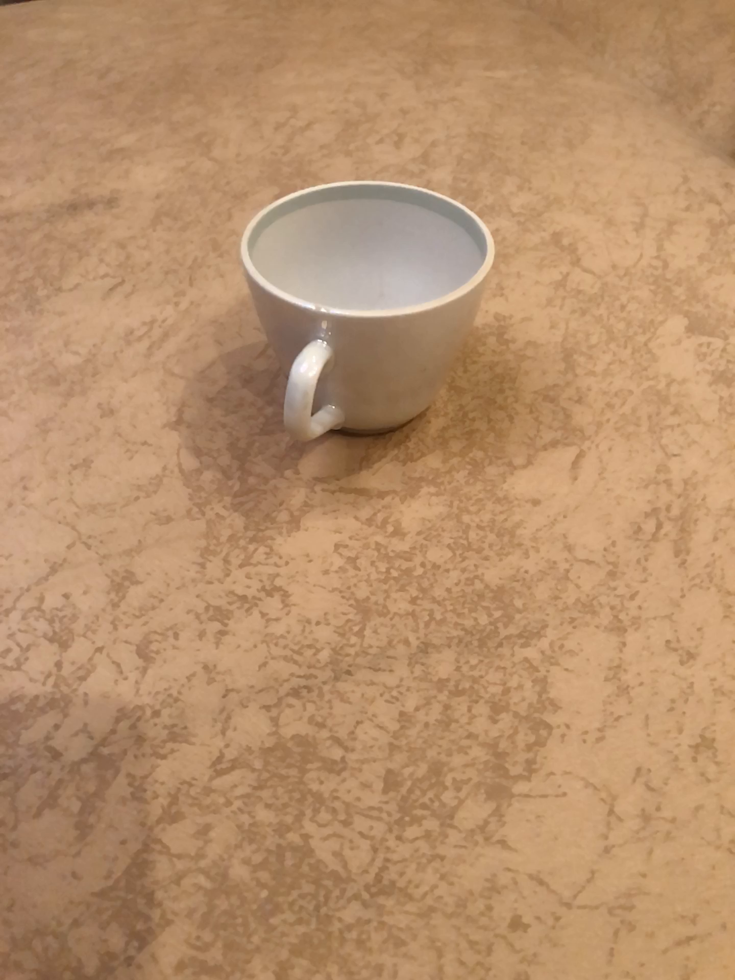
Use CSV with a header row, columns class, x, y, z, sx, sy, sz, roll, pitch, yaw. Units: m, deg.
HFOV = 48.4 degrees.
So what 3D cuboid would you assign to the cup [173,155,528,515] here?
class,x,y,z,sx,sy,sz,roll,pitch,yaw
cup,0.000,-0.061,0.294,0.090,0.060,0.110,14,48,10
